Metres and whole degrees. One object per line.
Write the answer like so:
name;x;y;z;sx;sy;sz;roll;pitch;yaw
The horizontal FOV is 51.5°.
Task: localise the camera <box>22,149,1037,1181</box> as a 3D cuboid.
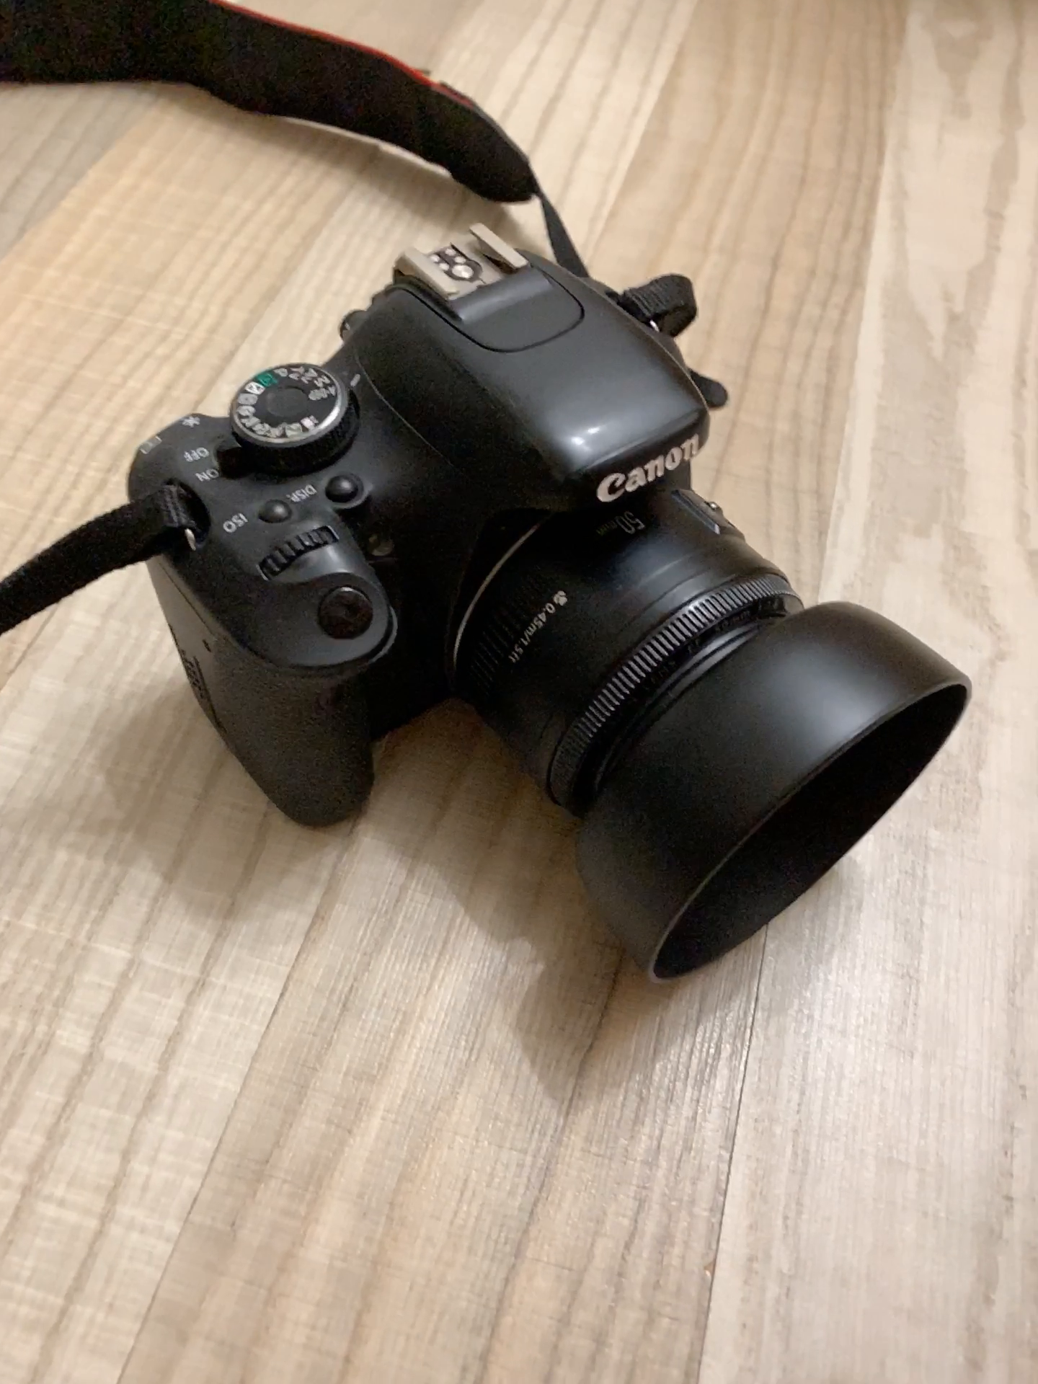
camera;0.007;-0.017;0.225;0.139;0.089;0.151;-29;62;-22
